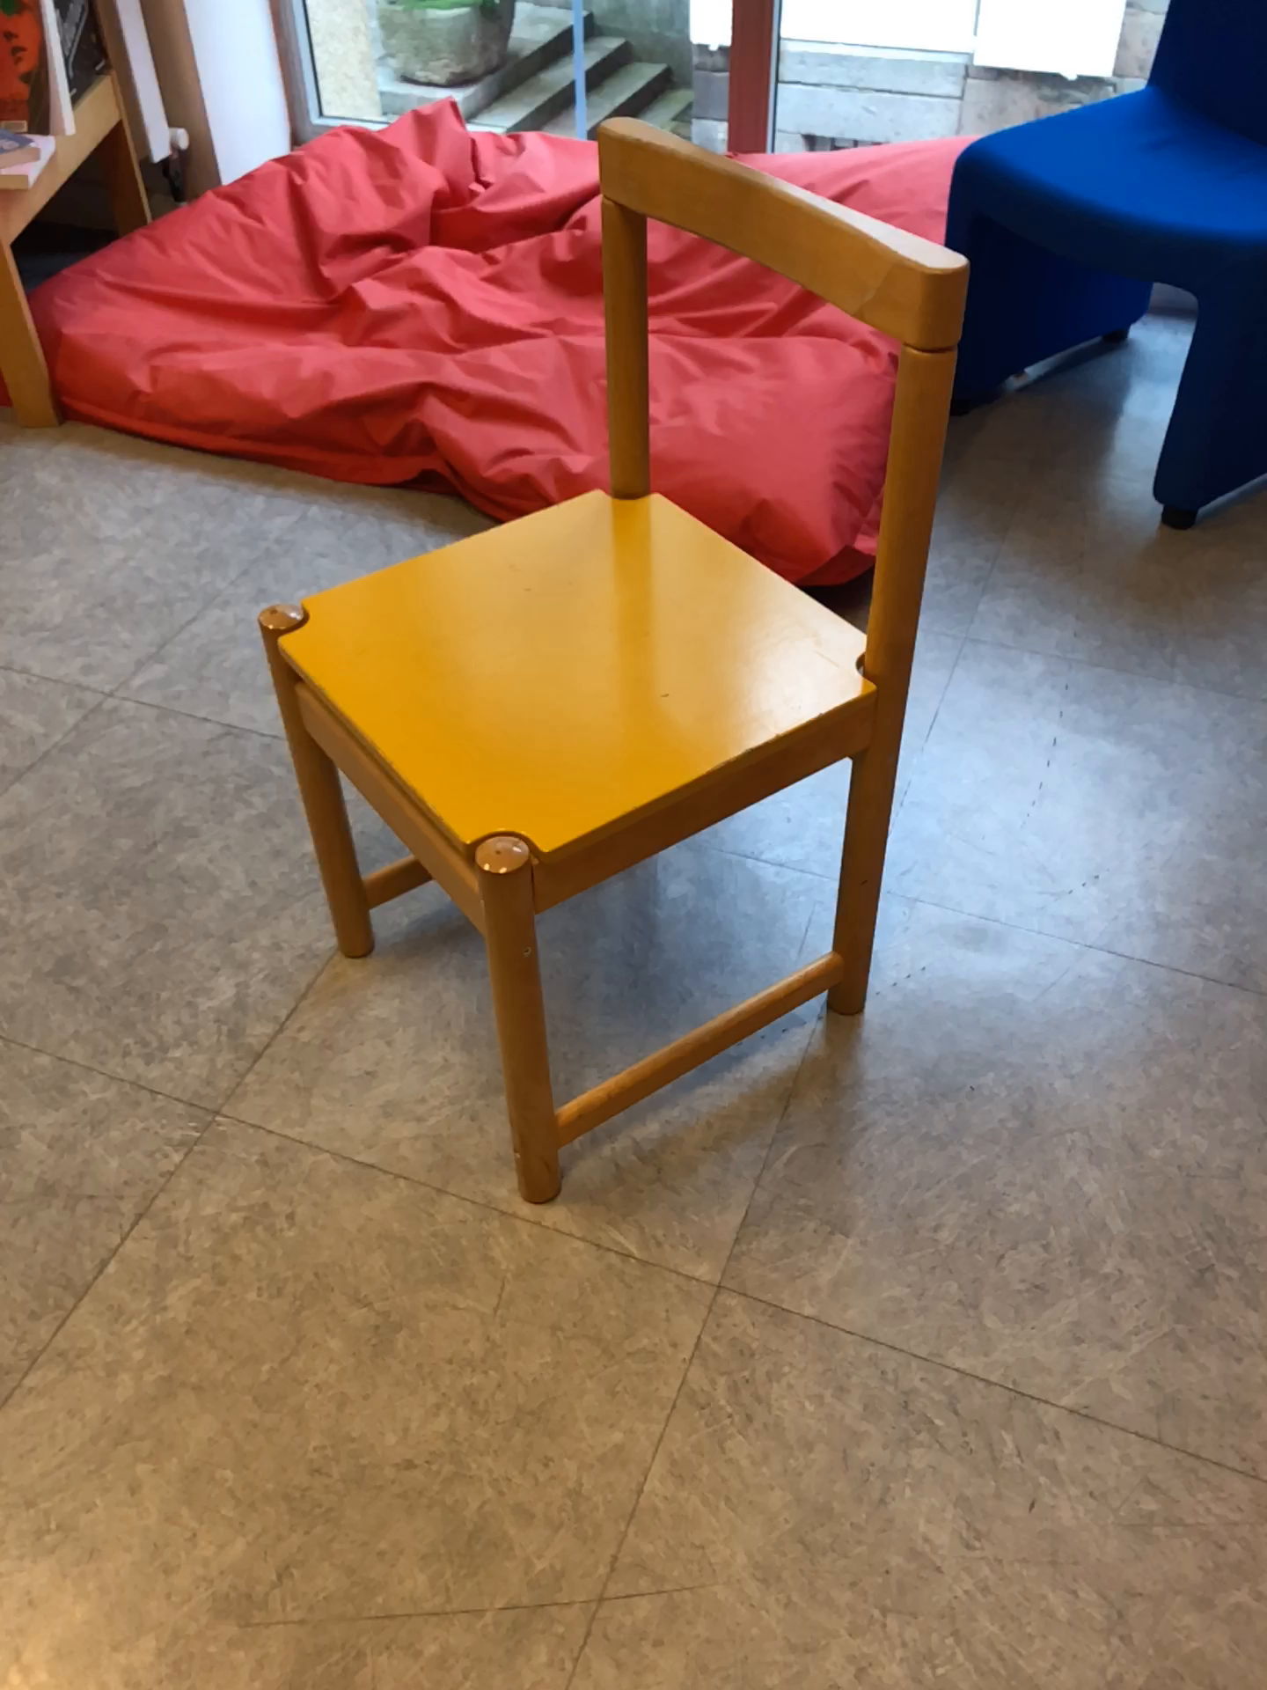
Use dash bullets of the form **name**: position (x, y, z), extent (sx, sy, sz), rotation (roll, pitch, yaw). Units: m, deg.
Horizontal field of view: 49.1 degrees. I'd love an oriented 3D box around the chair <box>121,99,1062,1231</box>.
- **chair**: position (-0.039, -0.143, 1.113), extent (0.422, 0.666, 0.451), rotation (-27, 49, -25)
